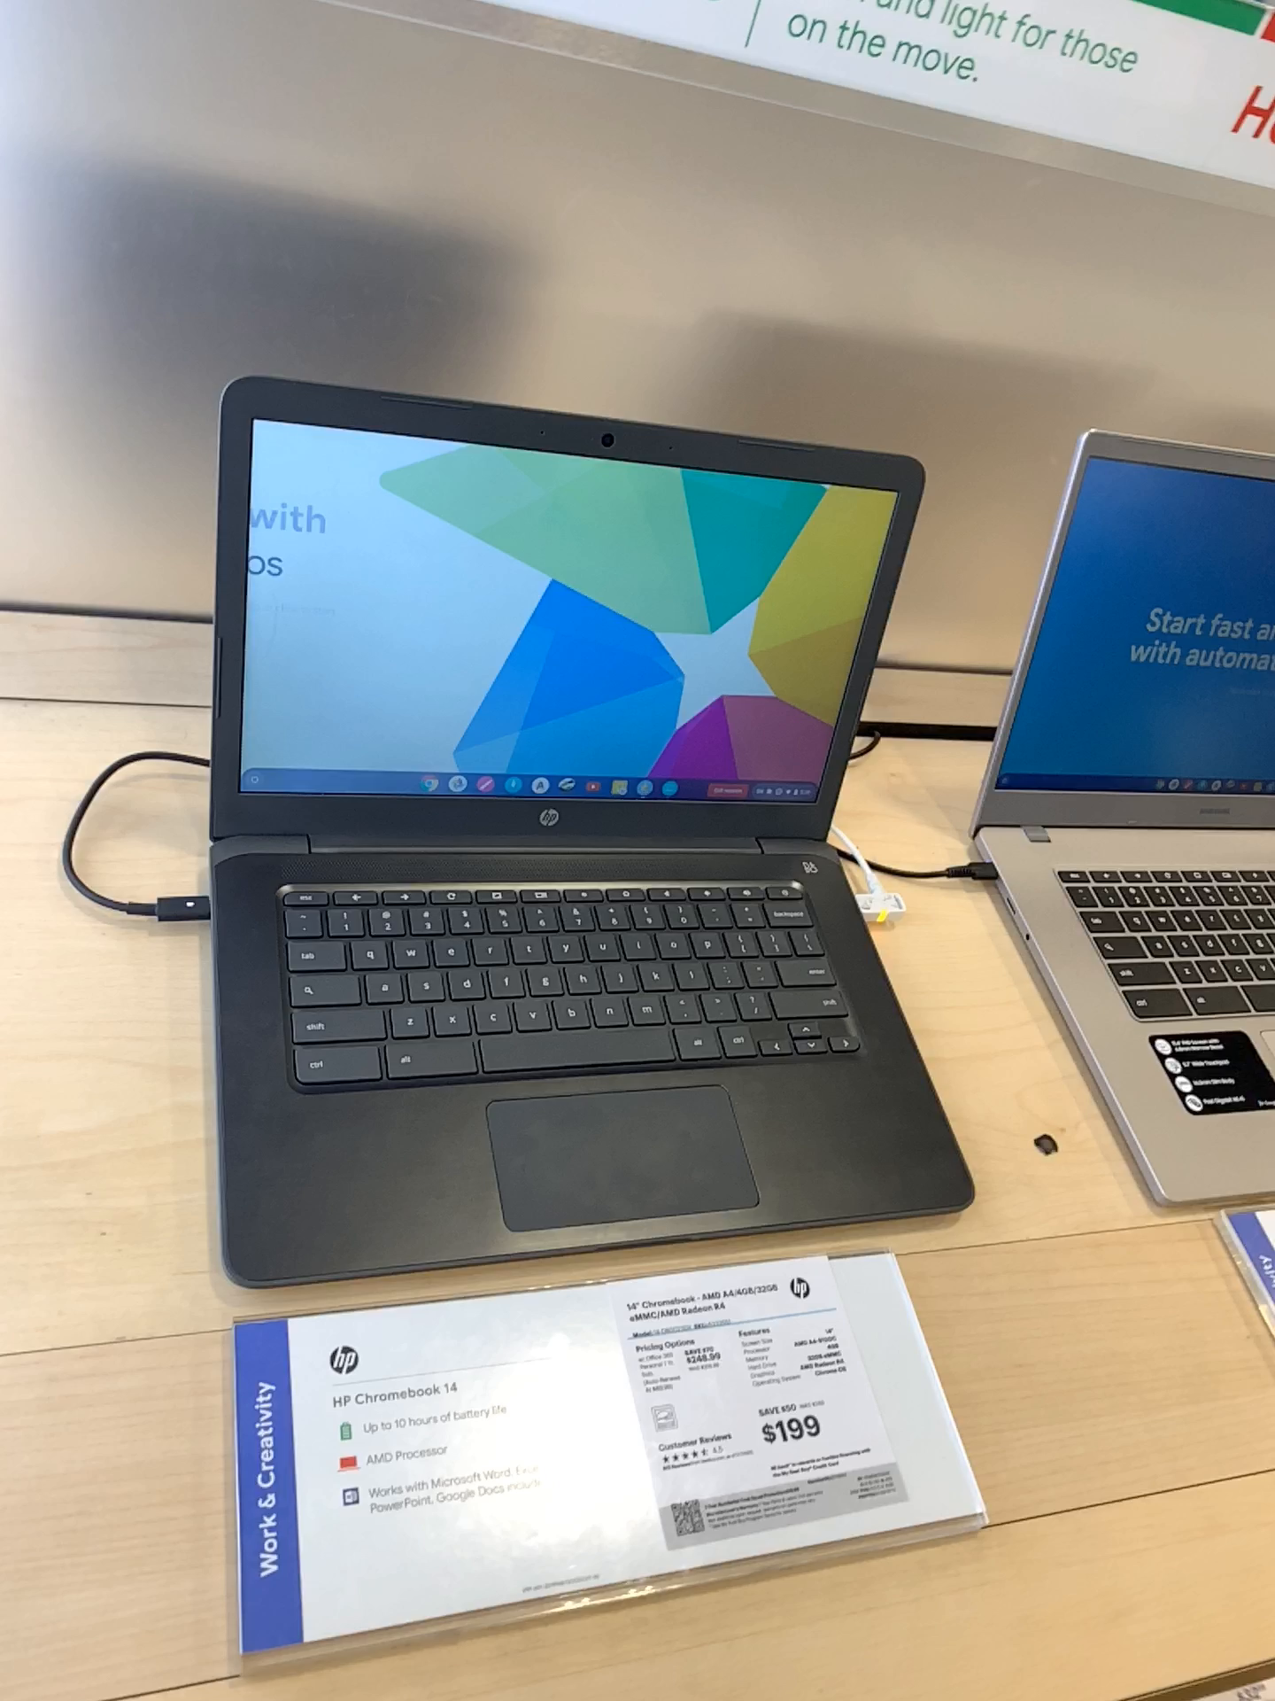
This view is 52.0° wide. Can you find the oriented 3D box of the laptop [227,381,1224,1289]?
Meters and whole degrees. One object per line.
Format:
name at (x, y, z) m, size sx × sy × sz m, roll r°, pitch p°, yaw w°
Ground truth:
laptop at (-0.003, -0.015, 0.562) m, size 0.319 × 0.199 × 0.293 m, roll 0°, pitch 49°, yaw -19°
